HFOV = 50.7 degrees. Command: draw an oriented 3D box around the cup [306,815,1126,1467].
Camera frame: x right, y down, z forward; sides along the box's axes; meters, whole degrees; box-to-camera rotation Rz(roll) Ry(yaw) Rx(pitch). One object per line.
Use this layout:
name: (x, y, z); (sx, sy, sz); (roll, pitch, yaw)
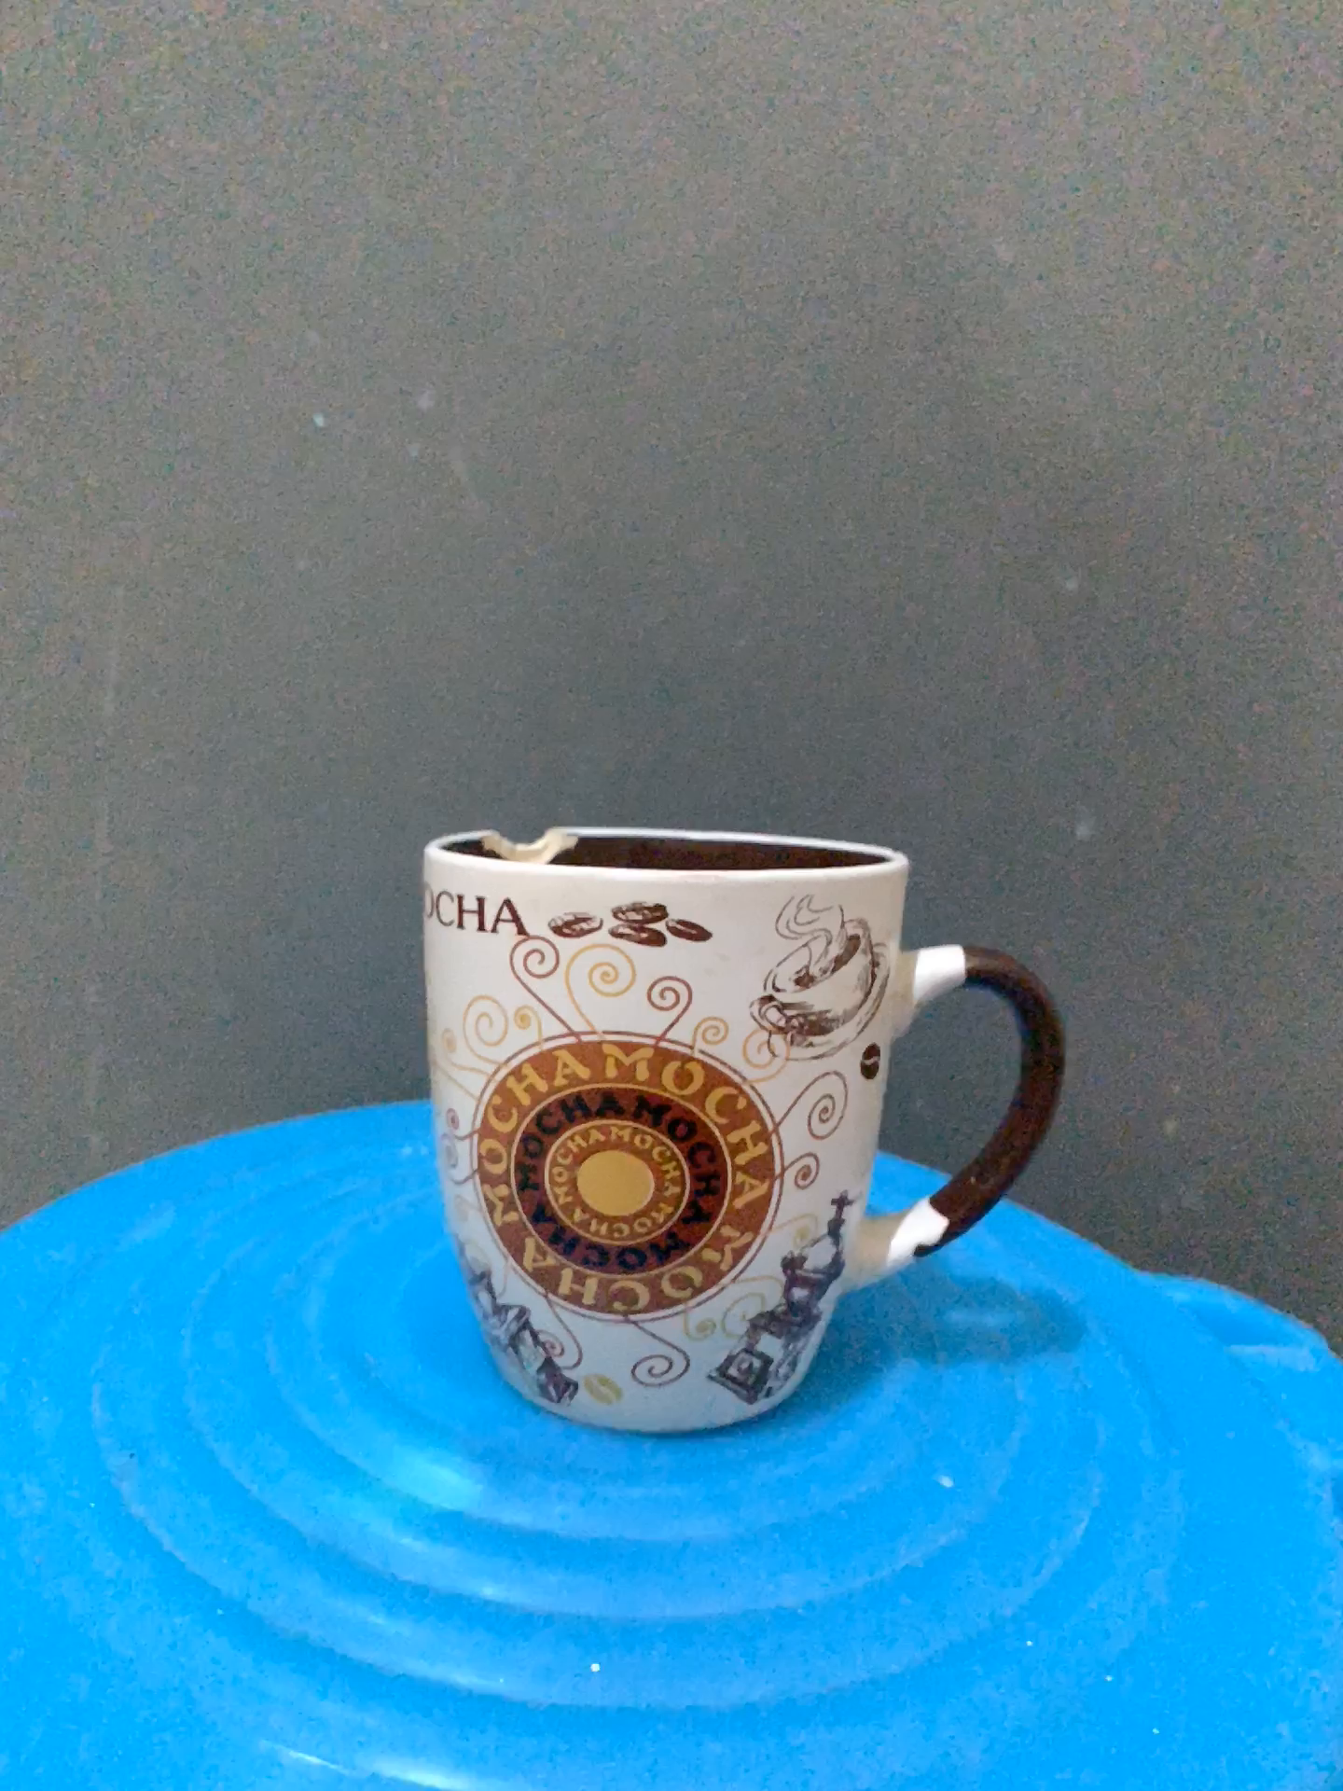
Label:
cup: (0.007, 0.032, 0.236); (0.110, 0.080, 0.080); (3, 7, 4)
